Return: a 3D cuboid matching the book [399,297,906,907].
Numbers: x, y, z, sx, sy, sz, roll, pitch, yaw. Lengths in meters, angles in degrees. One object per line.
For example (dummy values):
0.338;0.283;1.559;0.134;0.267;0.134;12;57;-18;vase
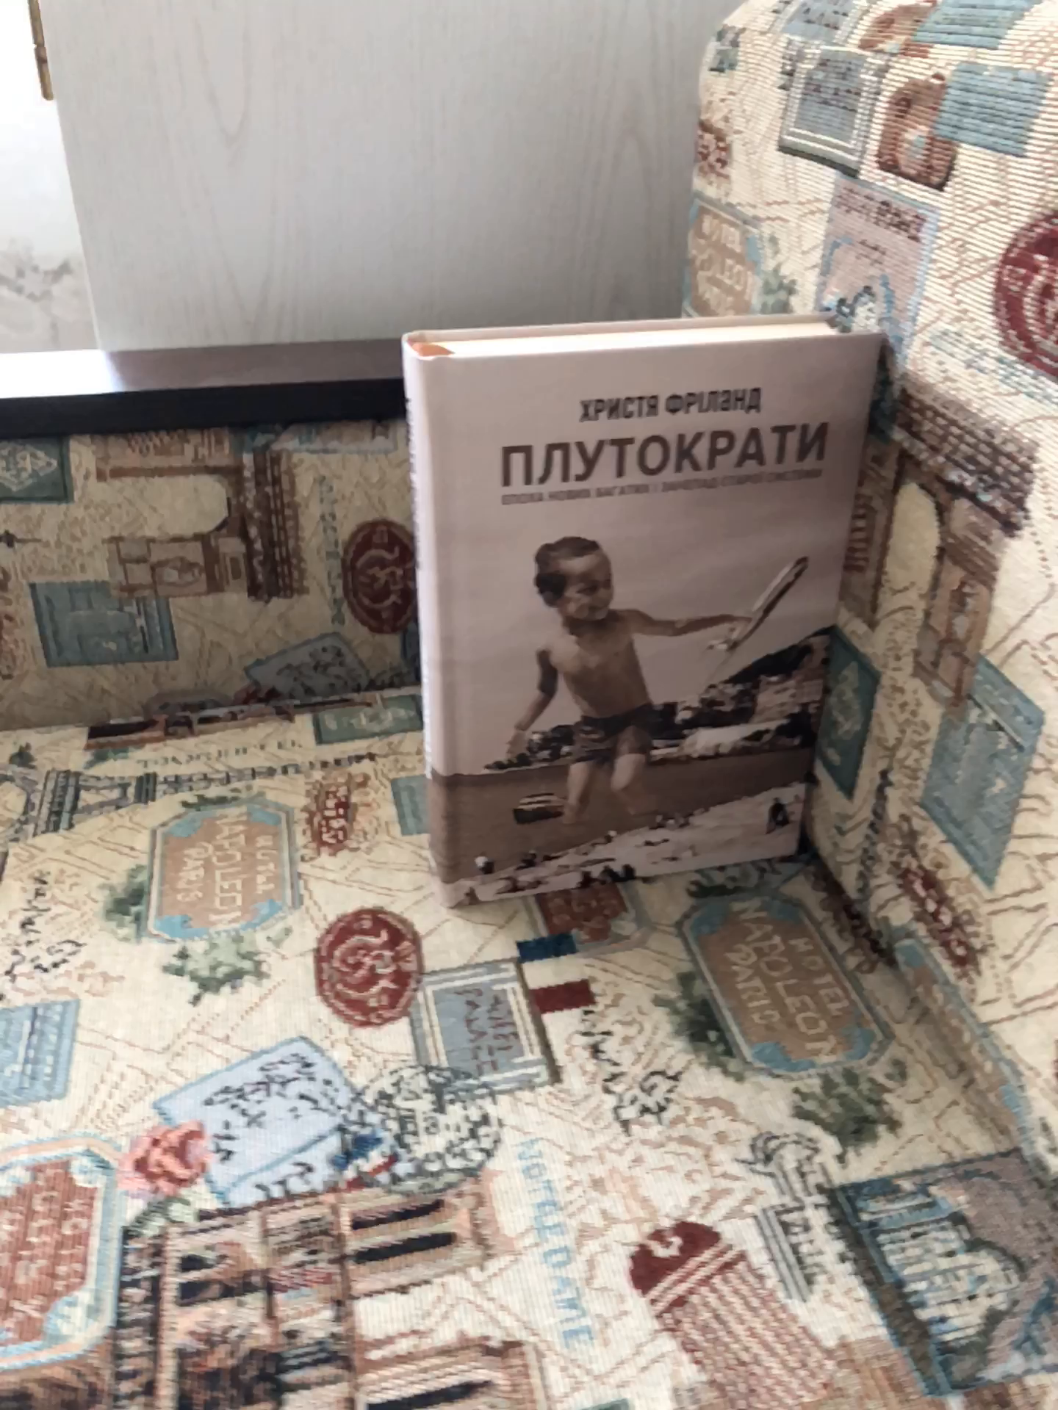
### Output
0.038;-0.031;0.429;0.157;0.215;0.037;-6;33;-12;book
